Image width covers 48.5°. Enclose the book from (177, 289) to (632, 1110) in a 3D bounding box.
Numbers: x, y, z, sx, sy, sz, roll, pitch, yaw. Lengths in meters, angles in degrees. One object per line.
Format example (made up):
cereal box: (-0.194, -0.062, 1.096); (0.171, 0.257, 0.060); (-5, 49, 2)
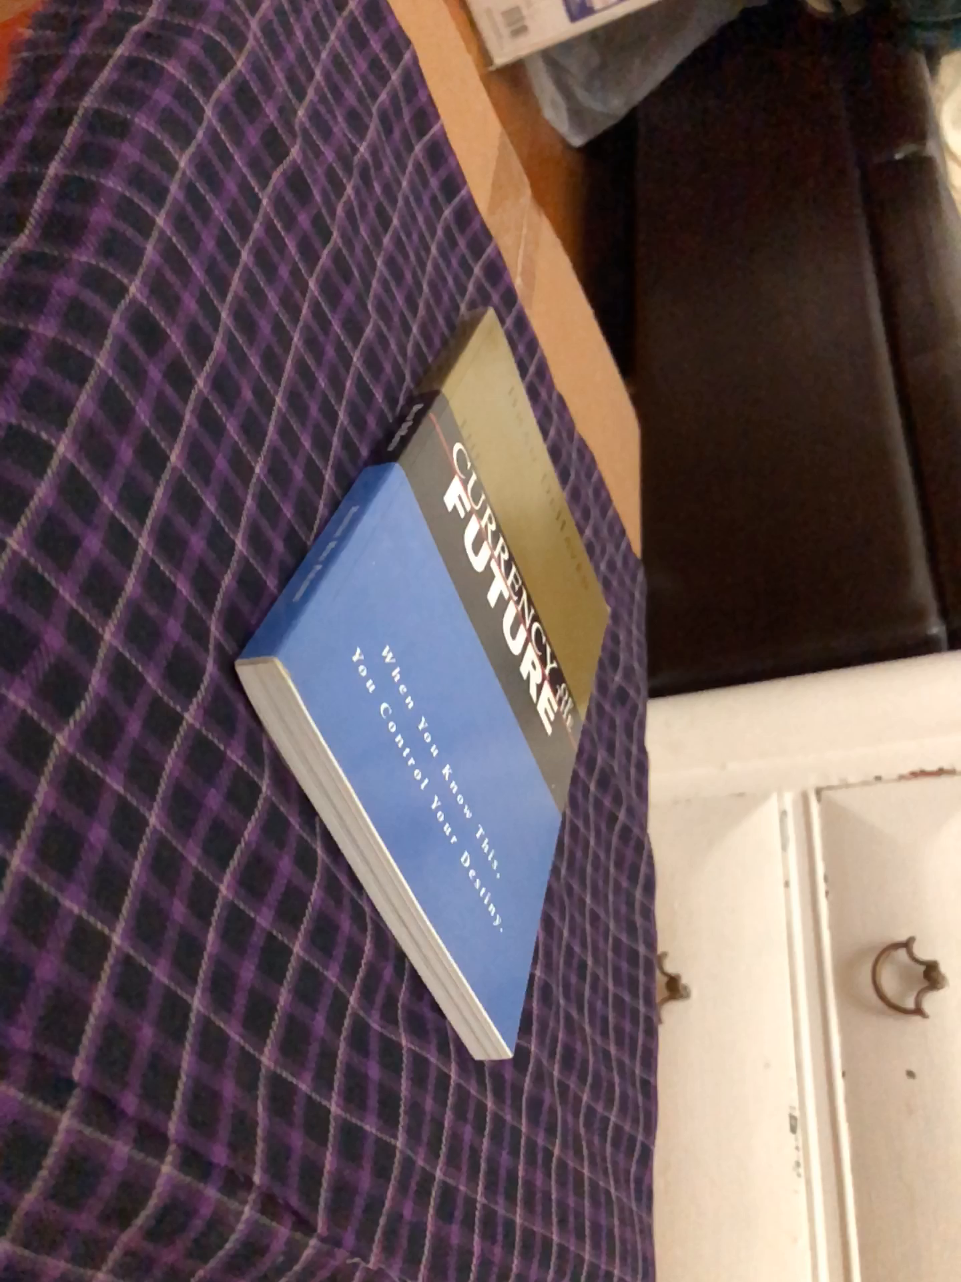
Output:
book: (0.002, 0.000, 0.332); (0.150, 0.020, 0.221); (65, 27, -28)
